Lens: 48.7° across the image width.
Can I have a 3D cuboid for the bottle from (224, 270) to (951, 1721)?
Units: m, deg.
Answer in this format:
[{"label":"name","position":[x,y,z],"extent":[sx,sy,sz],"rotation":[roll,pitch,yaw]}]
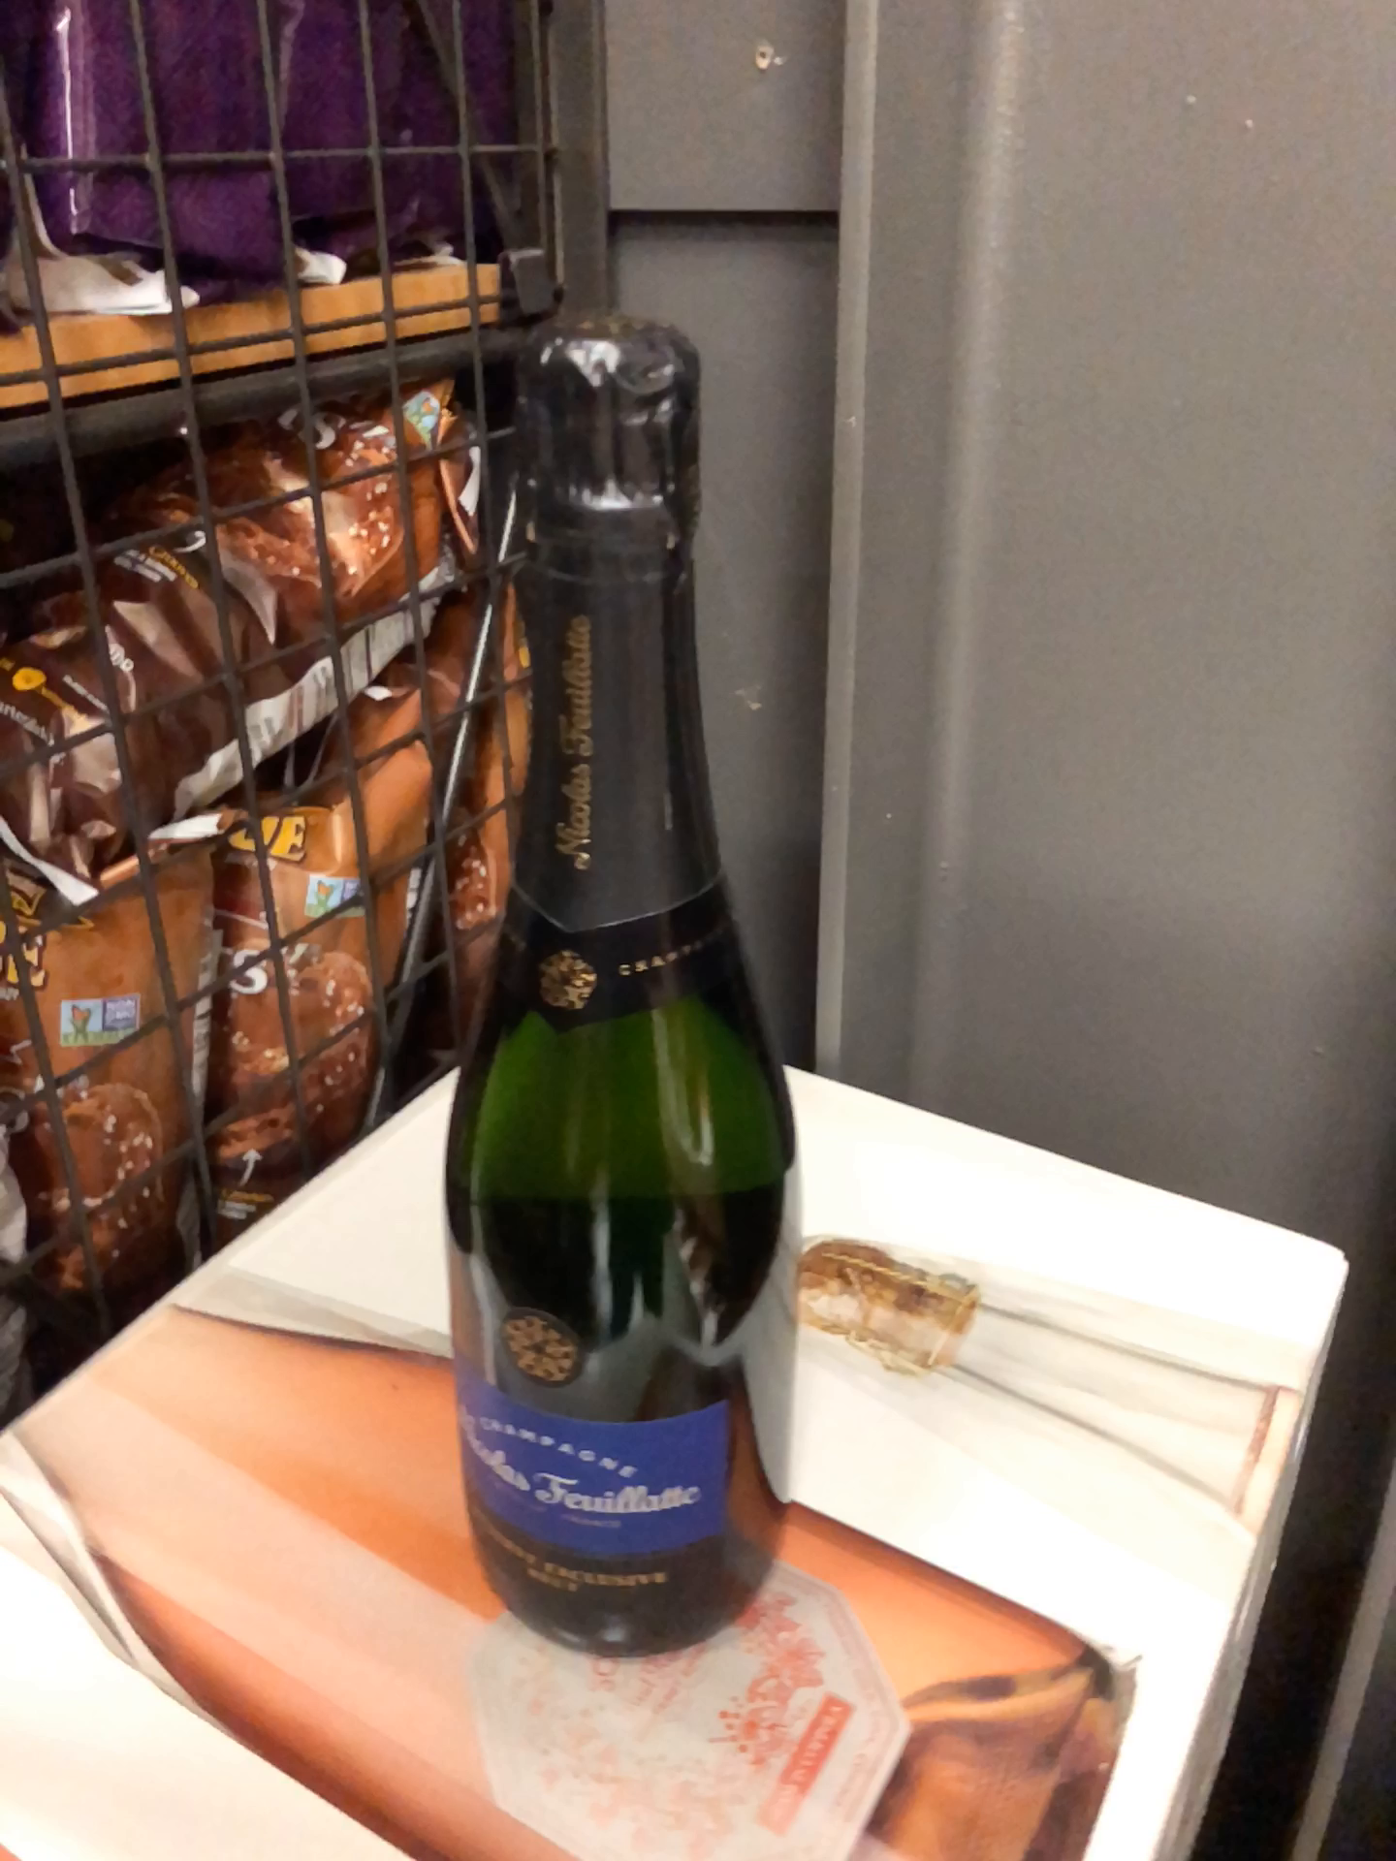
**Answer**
[{"label":"bottle","position":[-0.015,0.021,0.341],"extent":[0.100,0.299,0.090],"rotation":[10,29,19]}]
